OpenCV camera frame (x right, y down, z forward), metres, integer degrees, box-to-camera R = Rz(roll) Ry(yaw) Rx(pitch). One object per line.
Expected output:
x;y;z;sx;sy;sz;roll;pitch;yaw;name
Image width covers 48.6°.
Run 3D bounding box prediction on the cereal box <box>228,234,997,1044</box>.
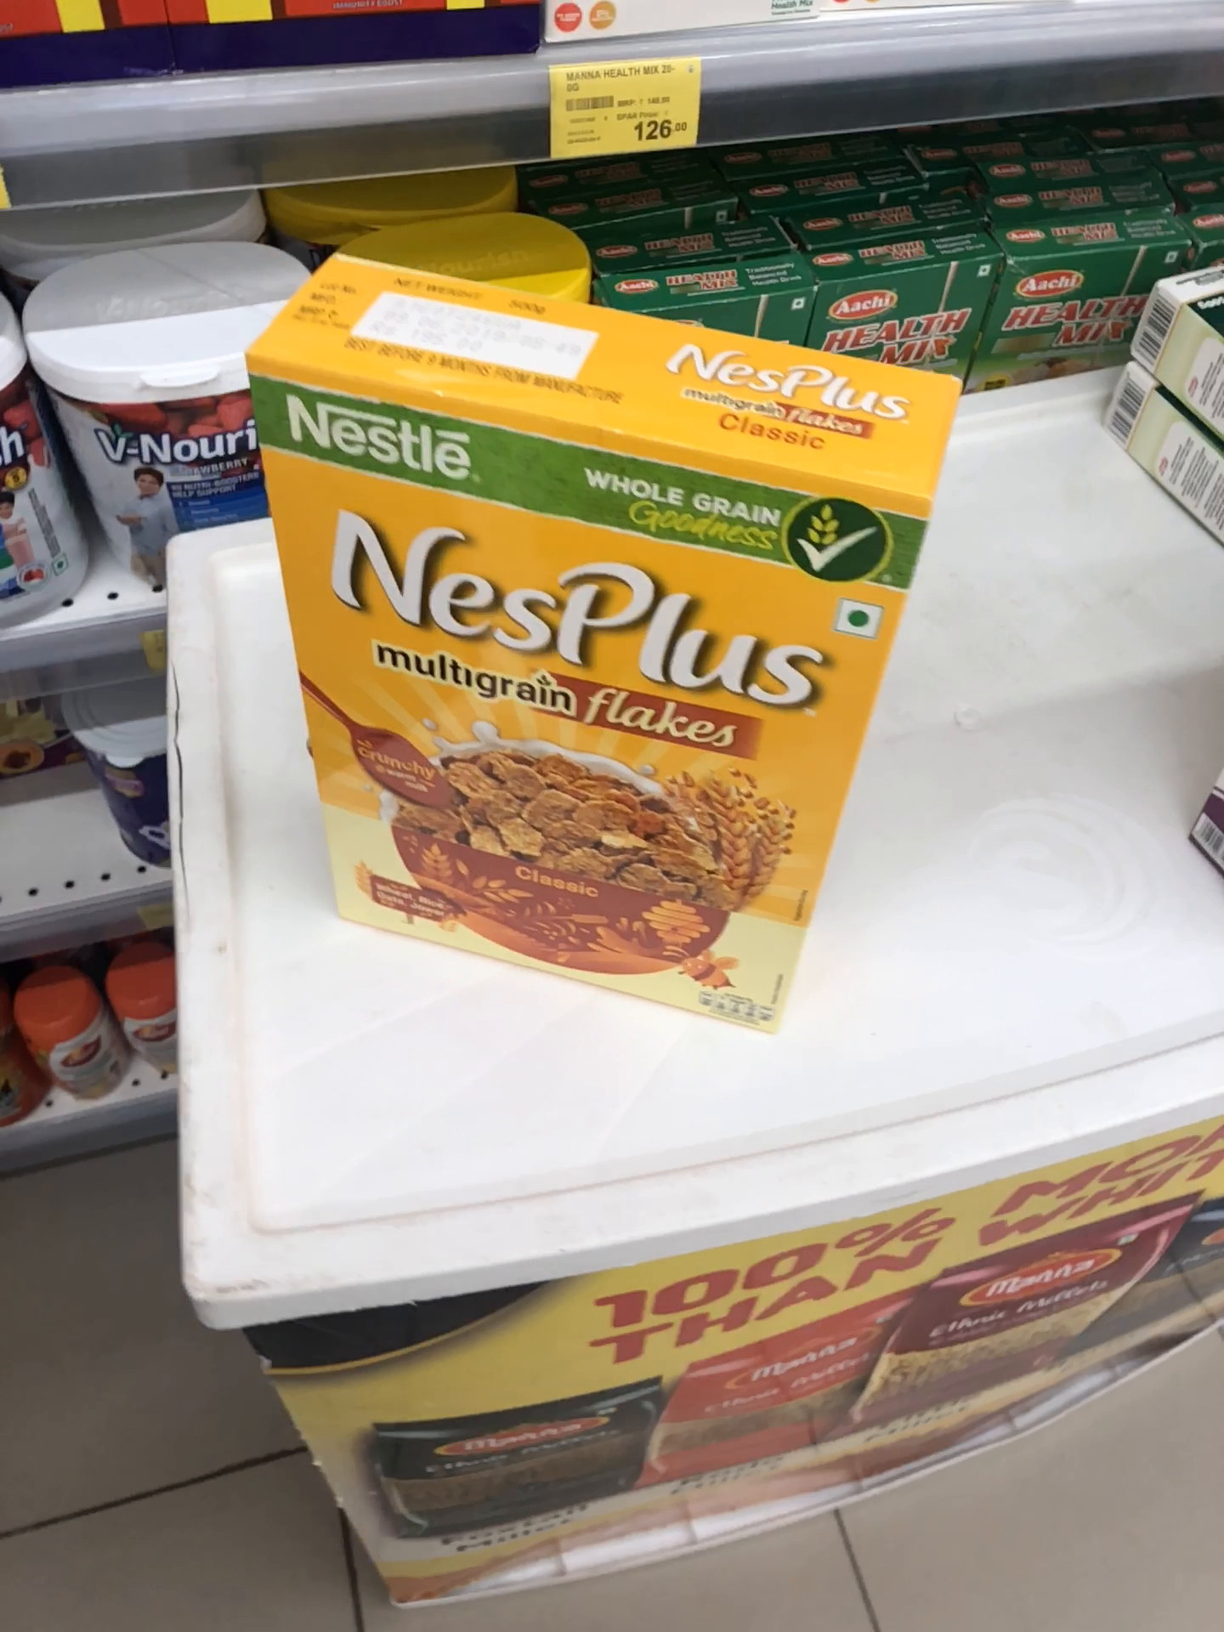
-0.004;-0.041;0.477;0.200;0.269;0.070;13;52;7;cereal box
